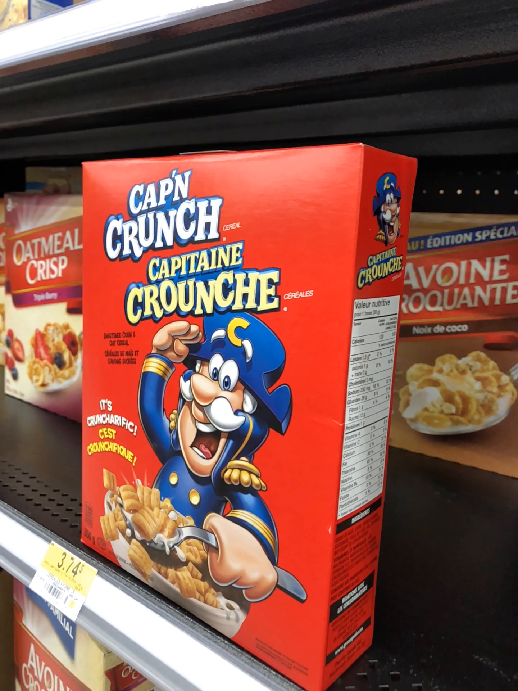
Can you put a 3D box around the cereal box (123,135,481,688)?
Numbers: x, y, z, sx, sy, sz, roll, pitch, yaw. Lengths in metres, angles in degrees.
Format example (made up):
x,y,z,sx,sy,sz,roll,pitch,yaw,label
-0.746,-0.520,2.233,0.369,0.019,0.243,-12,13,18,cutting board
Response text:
x,y,z,sx,sy,sz,roll,pitch,yaw,label
0.006,0.022,0.371,0.220,0.279,0.060,11,13,39,cereal box
